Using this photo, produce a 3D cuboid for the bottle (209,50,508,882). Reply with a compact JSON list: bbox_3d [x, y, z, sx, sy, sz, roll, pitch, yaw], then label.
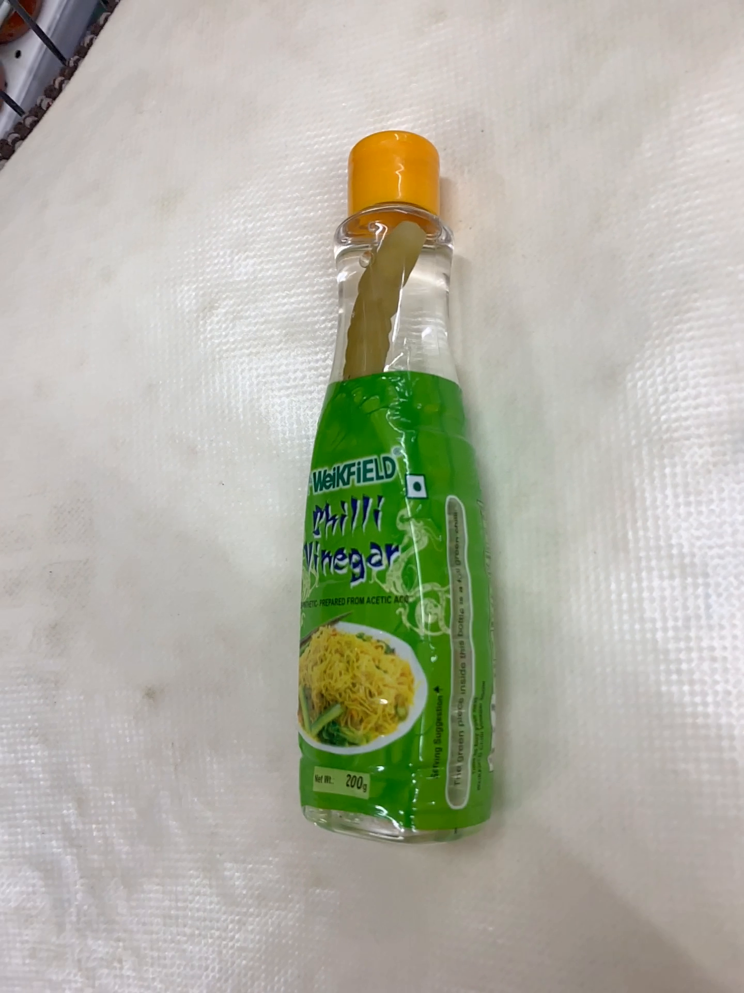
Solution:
[{"bbox_3d":[-0.007,-0.008,0.199,0.060,0.040,0.180,-8,81,42],"label":"bottle"}]
